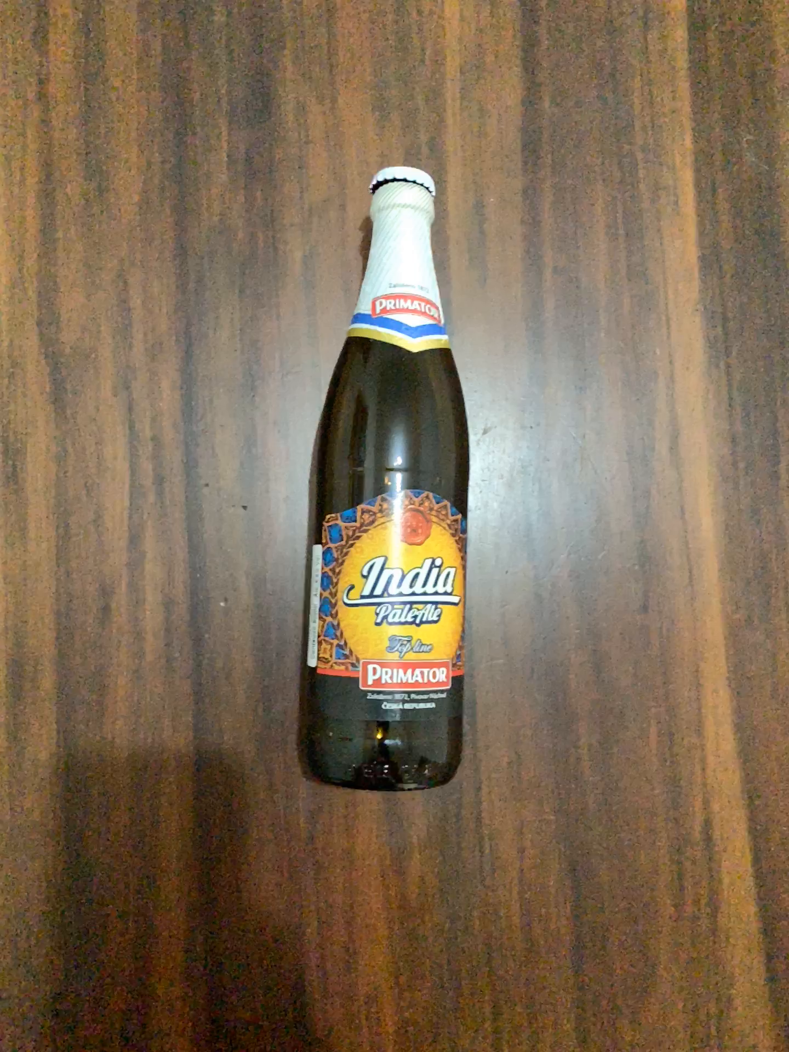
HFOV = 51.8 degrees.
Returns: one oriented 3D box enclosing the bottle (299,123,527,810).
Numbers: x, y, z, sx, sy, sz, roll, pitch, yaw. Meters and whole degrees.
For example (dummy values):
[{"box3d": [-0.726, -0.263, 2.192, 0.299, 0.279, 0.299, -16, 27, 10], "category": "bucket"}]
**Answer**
[{"box3d": [0.007, -0.023, 0.343, 0.080, 0.060, 0.260, 2, 85, -14], "category": "bottle"}]
